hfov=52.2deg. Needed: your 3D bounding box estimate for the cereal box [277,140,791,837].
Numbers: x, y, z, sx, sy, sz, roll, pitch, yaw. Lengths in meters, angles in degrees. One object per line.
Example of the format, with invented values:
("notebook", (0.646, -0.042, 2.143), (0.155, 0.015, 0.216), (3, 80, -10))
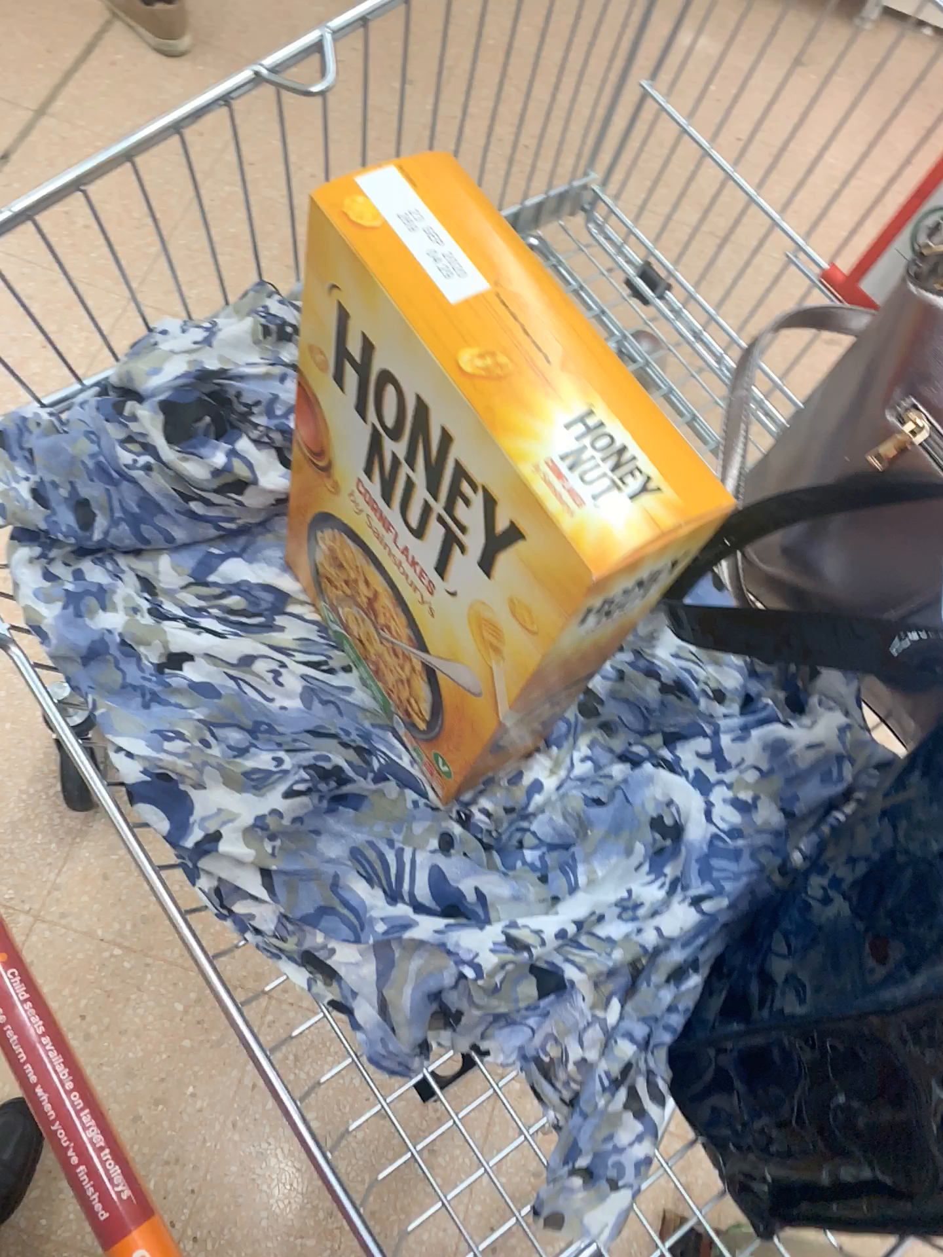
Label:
("cereal box", (-0.006, -0.040, 0.490), (0.080, 0.298, 0.211), (-28, 73, -24))
